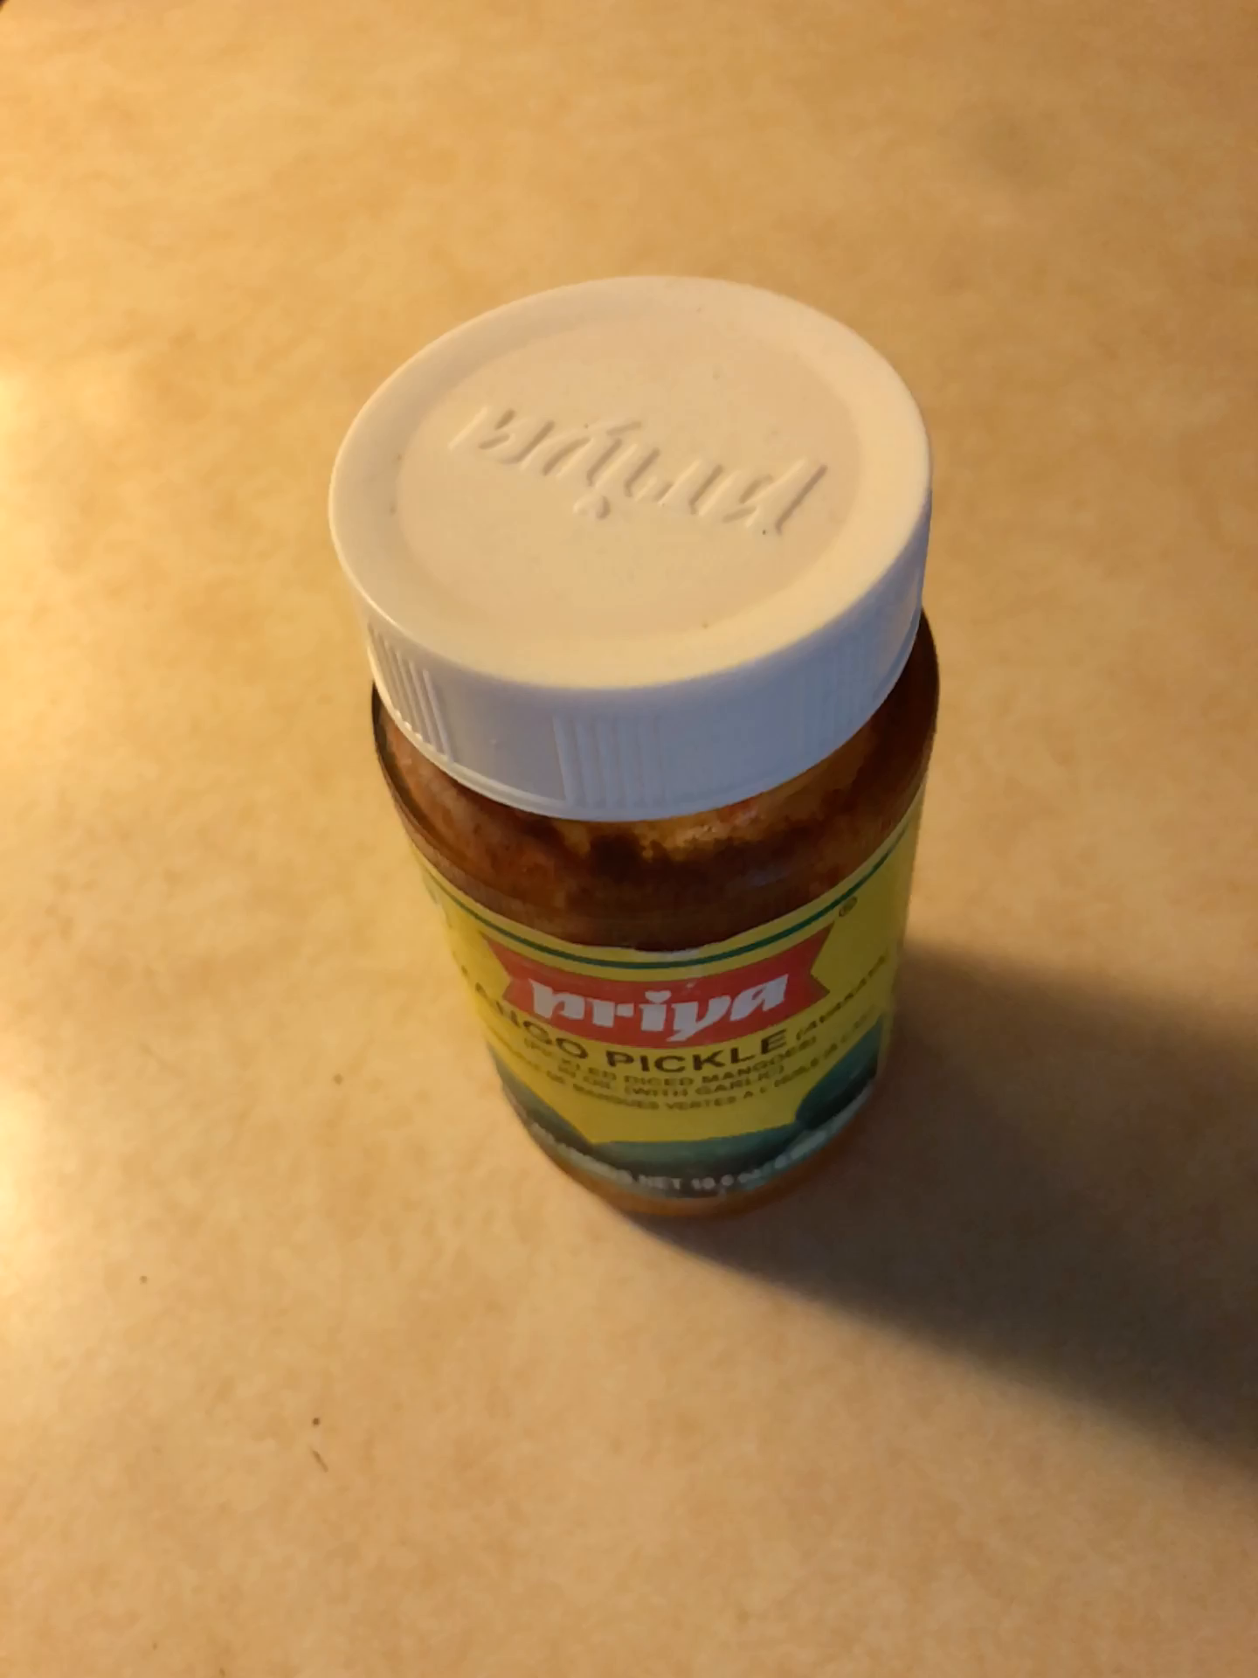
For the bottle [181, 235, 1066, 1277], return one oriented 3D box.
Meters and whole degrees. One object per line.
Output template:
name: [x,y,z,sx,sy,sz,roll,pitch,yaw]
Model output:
bottle: [0.008,0.001,0.181,0.070,0.130,0.060,4,56,9]
